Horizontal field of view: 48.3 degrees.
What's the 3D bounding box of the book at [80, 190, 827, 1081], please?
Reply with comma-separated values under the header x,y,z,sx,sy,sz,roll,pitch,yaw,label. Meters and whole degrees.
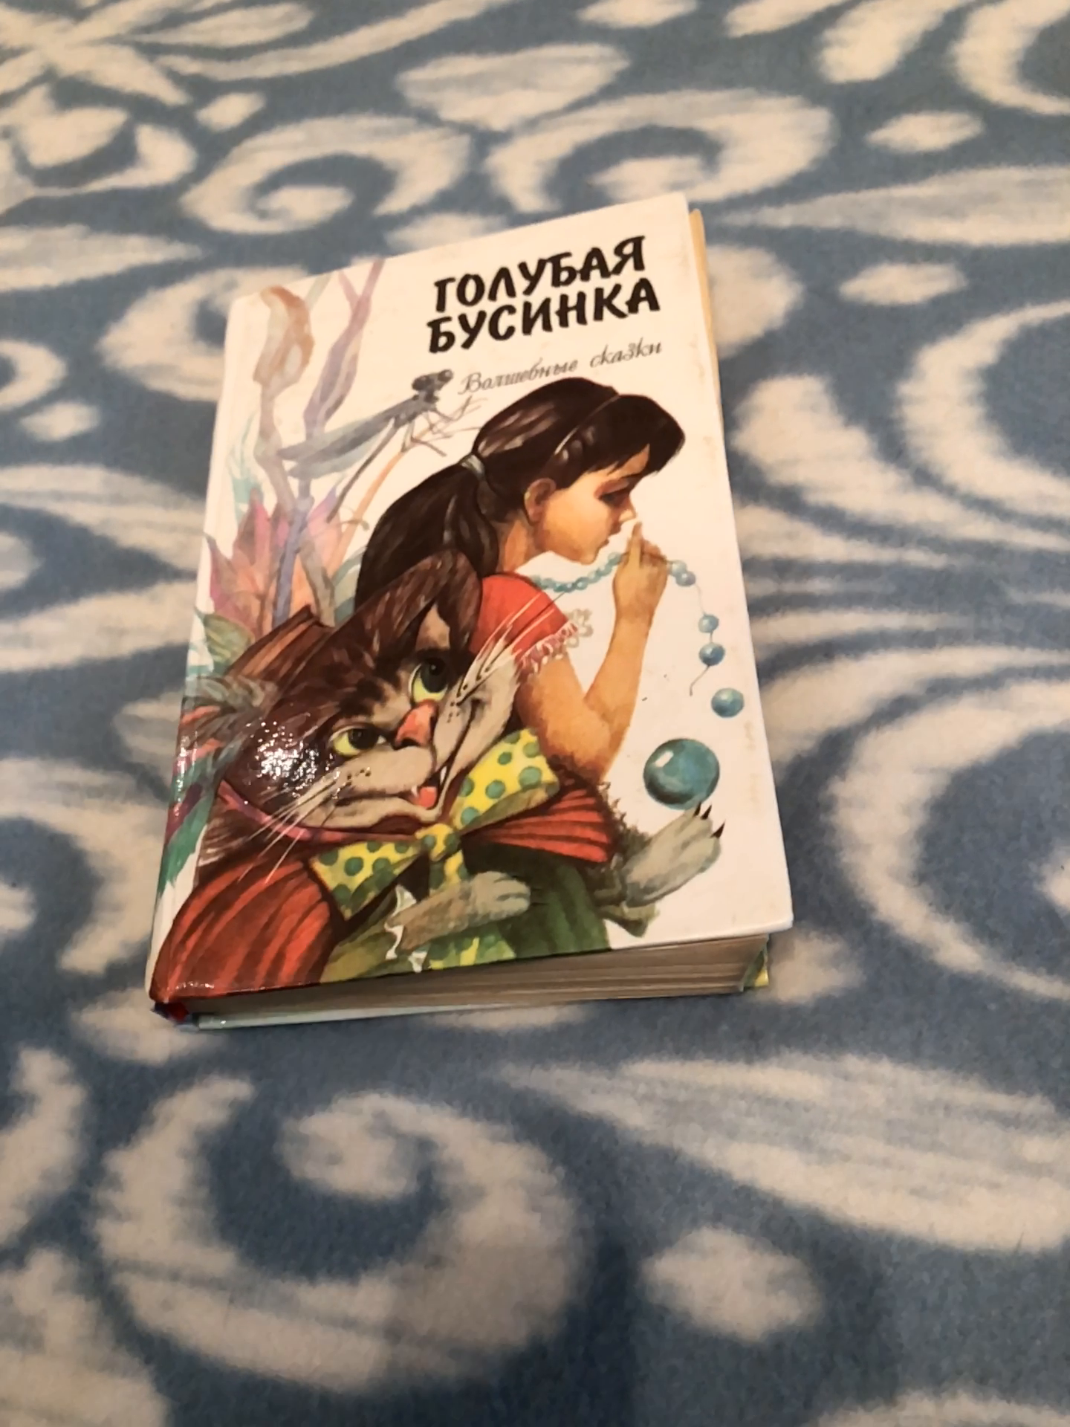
x,y,z,sx,sy,sz,roll,pitch,yaw,label
-0.020,-0.026,0.292,0.145,0.040,0.206,-9,60,11,book
